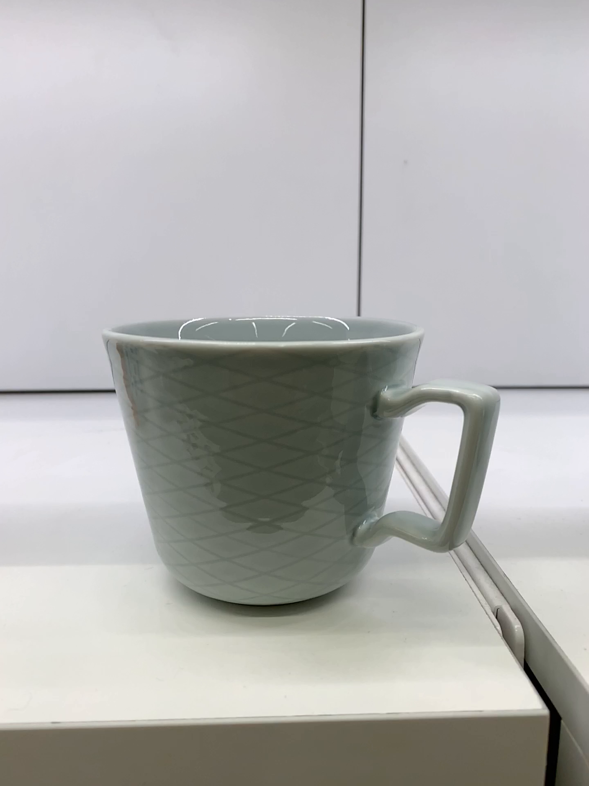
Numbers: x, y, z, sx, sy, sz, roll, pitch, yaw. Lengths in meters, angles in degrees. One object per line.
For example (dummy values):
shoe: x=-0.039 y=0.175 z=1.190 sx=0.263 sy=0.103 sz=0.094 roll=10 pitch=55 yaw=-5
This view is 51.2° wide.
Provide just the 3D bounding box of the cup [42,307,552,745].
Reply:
cup: x=0.005 y=0.019 z=0.204 sx=0.124 sy=0.089 sz=0.109 roll=6 pitch=11 yaw=34
